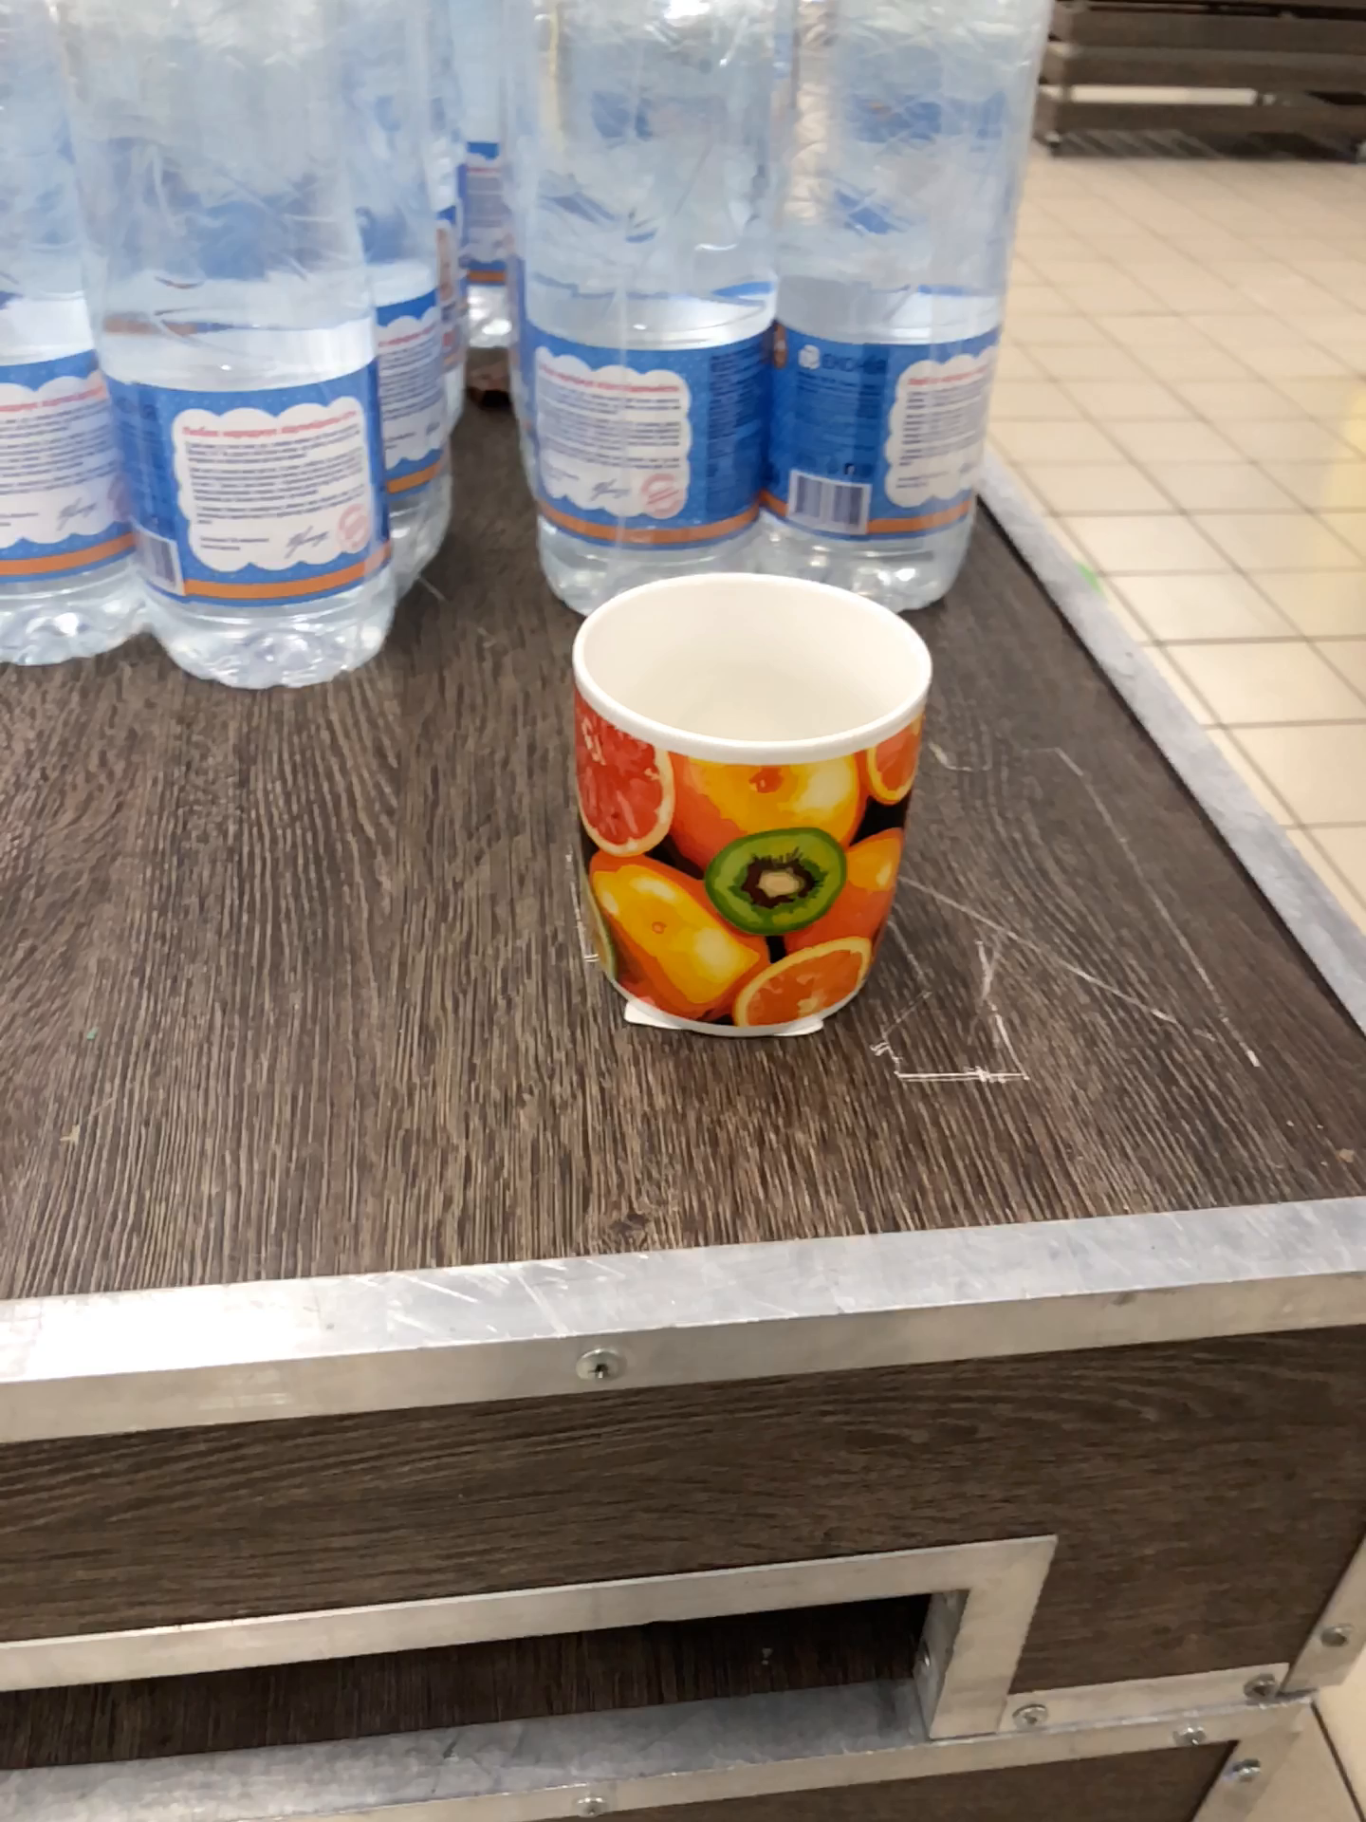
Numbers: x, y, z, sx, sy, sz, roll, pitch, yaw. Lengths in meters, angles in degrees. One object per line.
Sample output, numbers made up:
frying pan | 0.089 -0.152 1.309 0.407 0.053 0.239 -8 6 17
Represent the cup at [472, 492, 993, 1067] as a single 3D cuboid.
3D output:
cup | 0.005 -0.041 0.395 0.091 0.085 0.127 -10 39 -15
